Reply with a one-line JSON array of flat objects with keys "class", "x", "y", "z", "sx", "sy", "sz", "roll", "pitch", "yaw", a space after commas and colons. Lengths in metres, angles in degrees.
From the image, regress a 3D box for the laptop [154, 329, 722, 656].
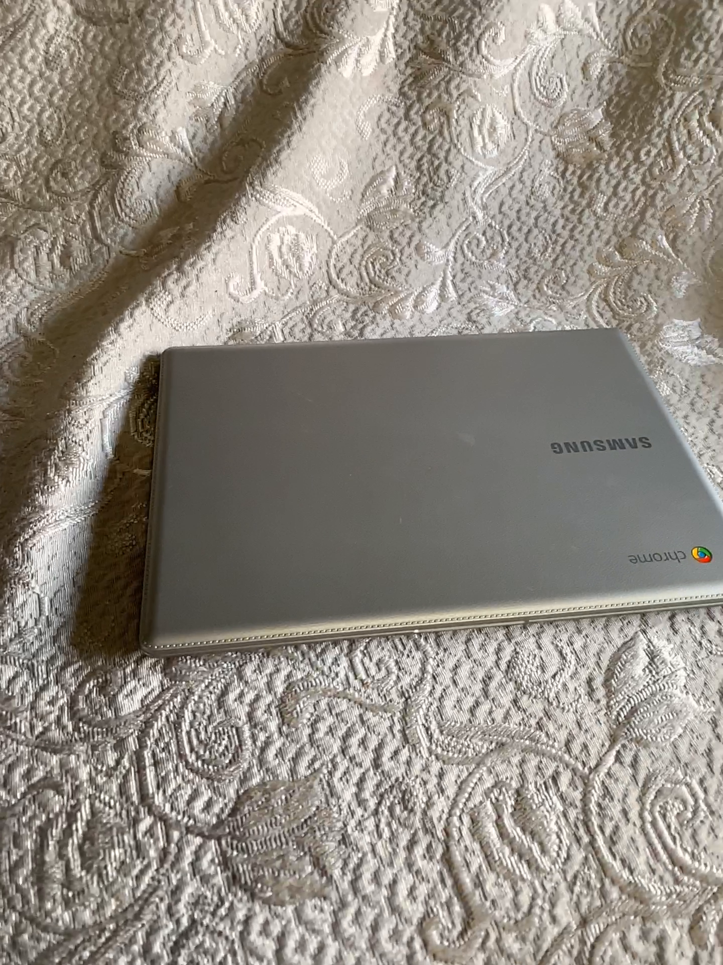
[{"class": "laptop", "x": 0.034, "y": -0.010, "z": 0.371, "sx": 0.264, "sy": 0.005, "sz": 0.176, "roll": -4, "pitch": 53, "yaw": -8}]
